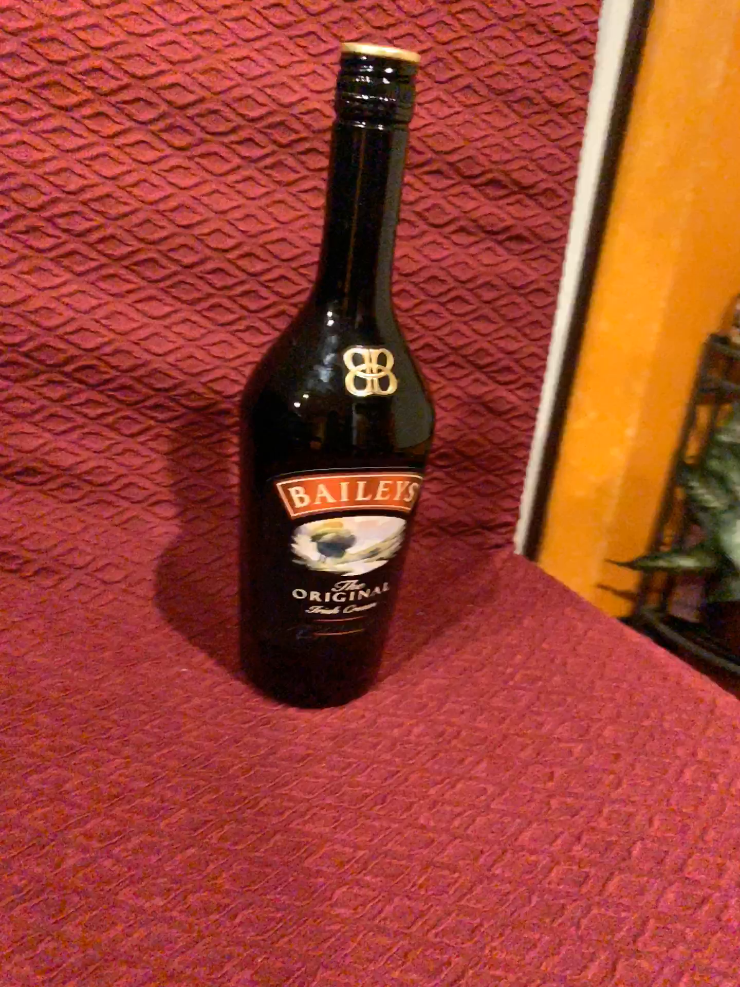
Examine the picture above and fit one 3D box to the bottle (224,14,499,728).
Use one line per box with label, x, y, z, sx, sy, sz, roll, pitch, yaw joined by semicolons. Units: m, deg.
bottle;-0.017;-0.038;0.346;0.080;0.289;0.070;-3;25;-20
